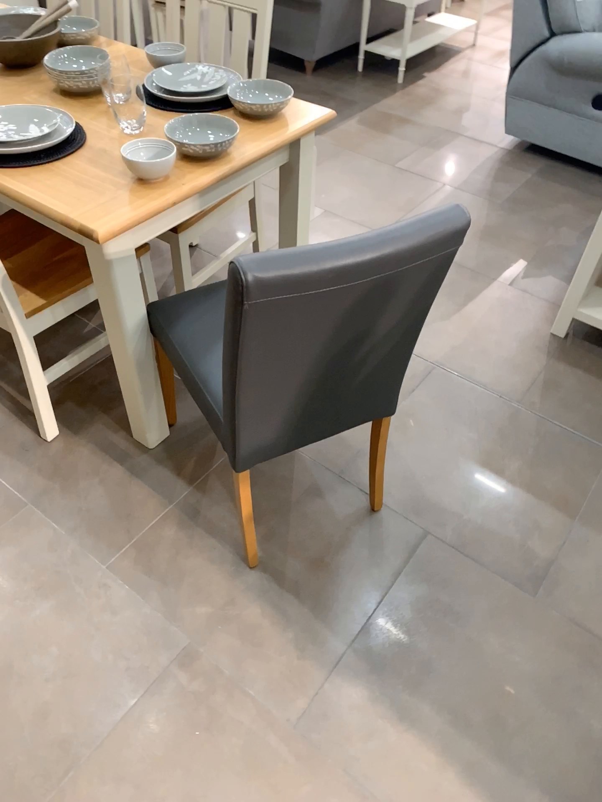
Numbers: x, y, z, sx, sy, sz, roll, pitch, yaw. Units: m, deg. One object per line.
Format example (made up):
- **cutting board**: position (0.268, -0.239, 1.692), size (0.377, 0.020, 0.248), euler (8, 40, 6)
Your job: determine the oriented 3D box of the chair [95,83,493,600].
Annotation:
- **chair**: position (-0.066, -0.122, 1.437), size (0.476, 0.906, 0.654), euler (-20, 50, -21)
